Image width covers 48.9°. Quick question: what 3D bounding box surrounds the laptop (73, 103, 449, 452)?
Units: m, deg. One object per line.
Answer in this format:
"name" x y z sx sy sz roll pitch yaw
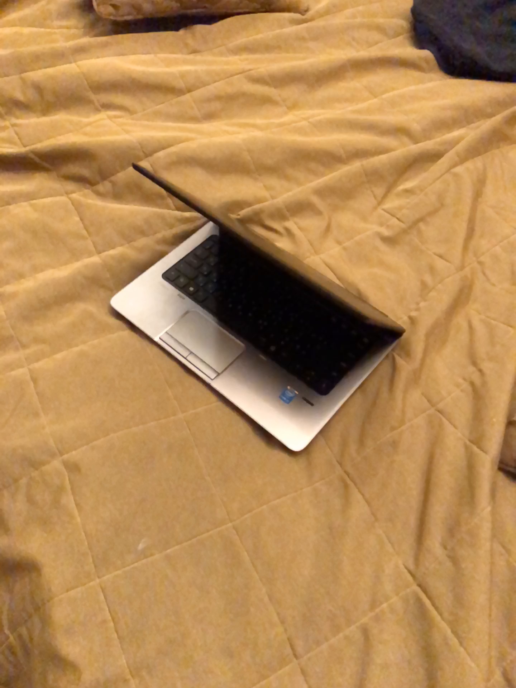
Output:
"laptop" -0.001 -0.087 0.683 0.331 0.189 0.225 36 63 19
